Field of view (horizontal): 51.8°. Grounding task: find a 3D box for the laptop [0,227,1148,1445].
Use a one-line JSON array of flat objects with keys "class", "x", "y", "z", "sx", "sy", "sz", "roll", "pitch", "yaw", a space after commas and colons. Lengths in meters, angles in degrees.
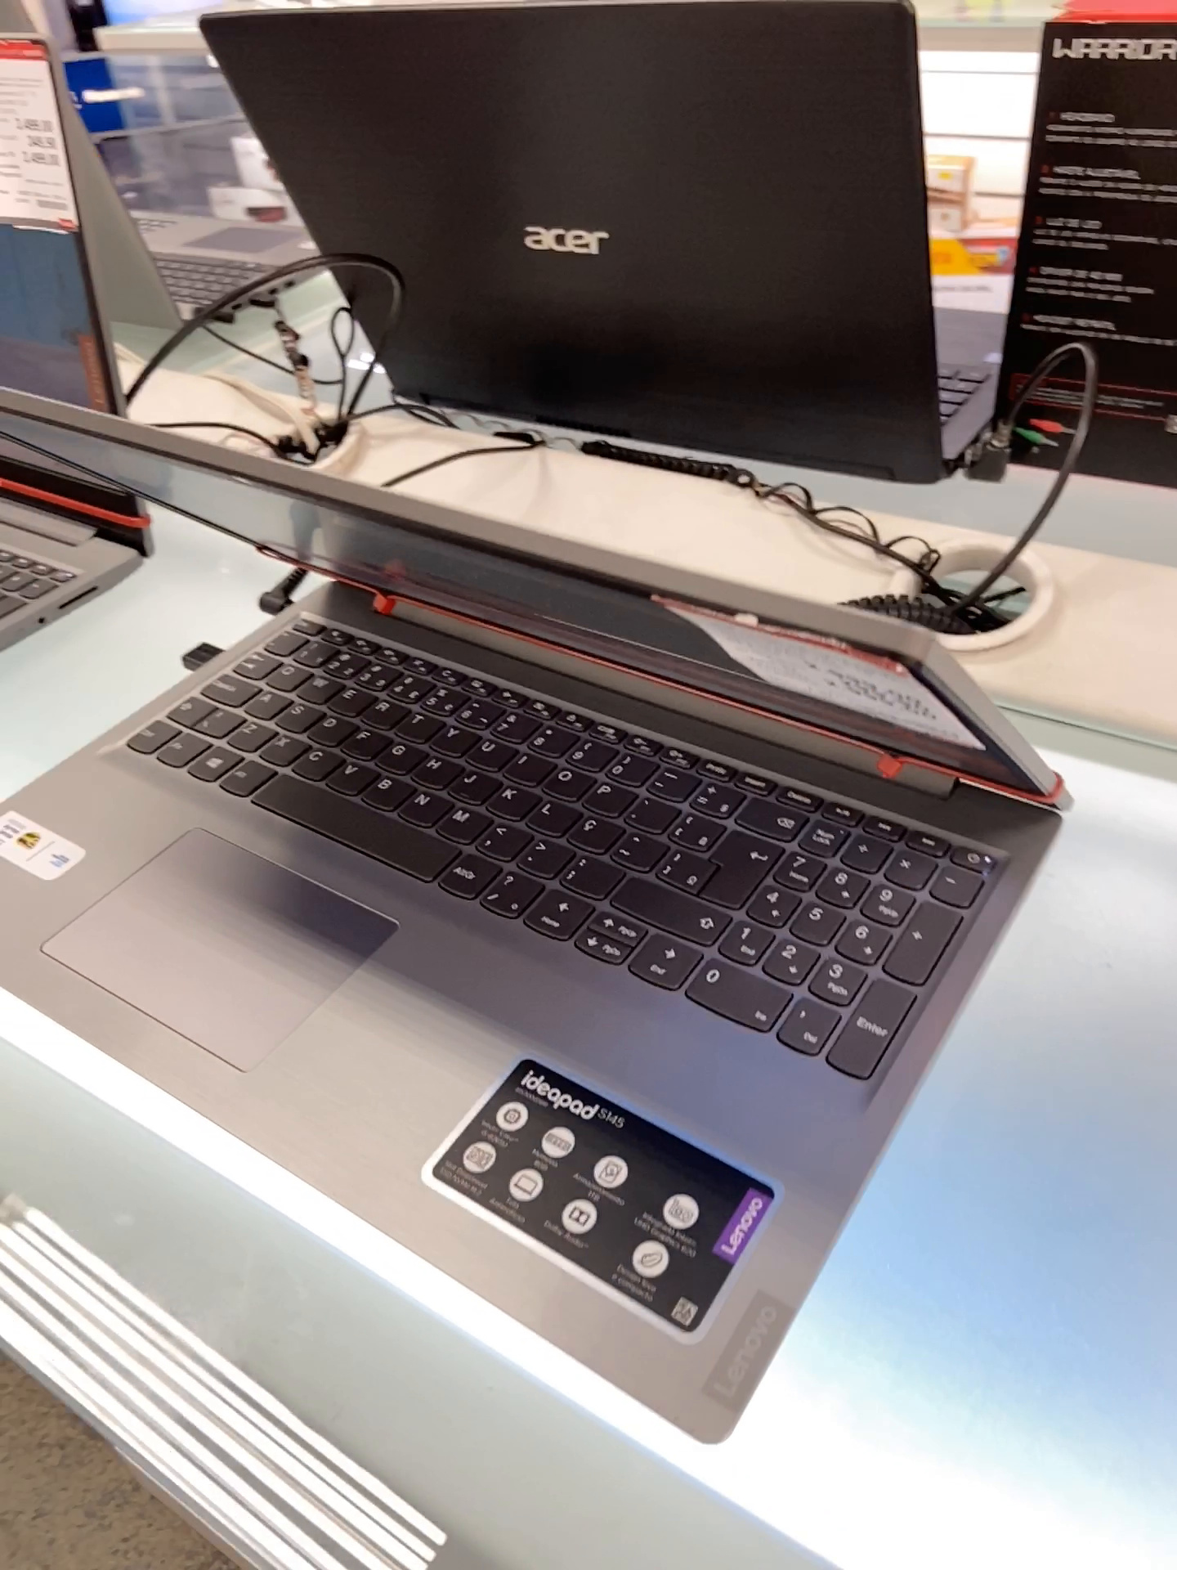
[{"class": "laptop", "x": -0.060, "y": -0.039, "z": 0.390, "sx": 0.361, "sy": 0.167, "sz": 0.247, "roll": 20, "pitch": 46, "yaw": 29}]
